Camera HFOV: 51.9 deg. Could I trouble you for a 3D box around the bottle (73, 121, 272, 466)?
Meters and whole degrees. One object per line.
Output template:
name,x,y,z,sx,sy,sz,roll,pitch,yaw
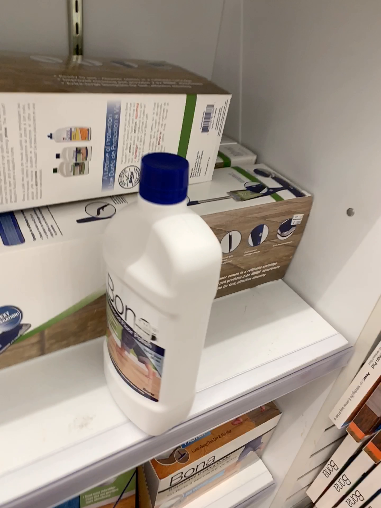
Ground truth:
bottle,-0.033,0.041,0.326,0.070,0.259,0.120,-21,45,-36
